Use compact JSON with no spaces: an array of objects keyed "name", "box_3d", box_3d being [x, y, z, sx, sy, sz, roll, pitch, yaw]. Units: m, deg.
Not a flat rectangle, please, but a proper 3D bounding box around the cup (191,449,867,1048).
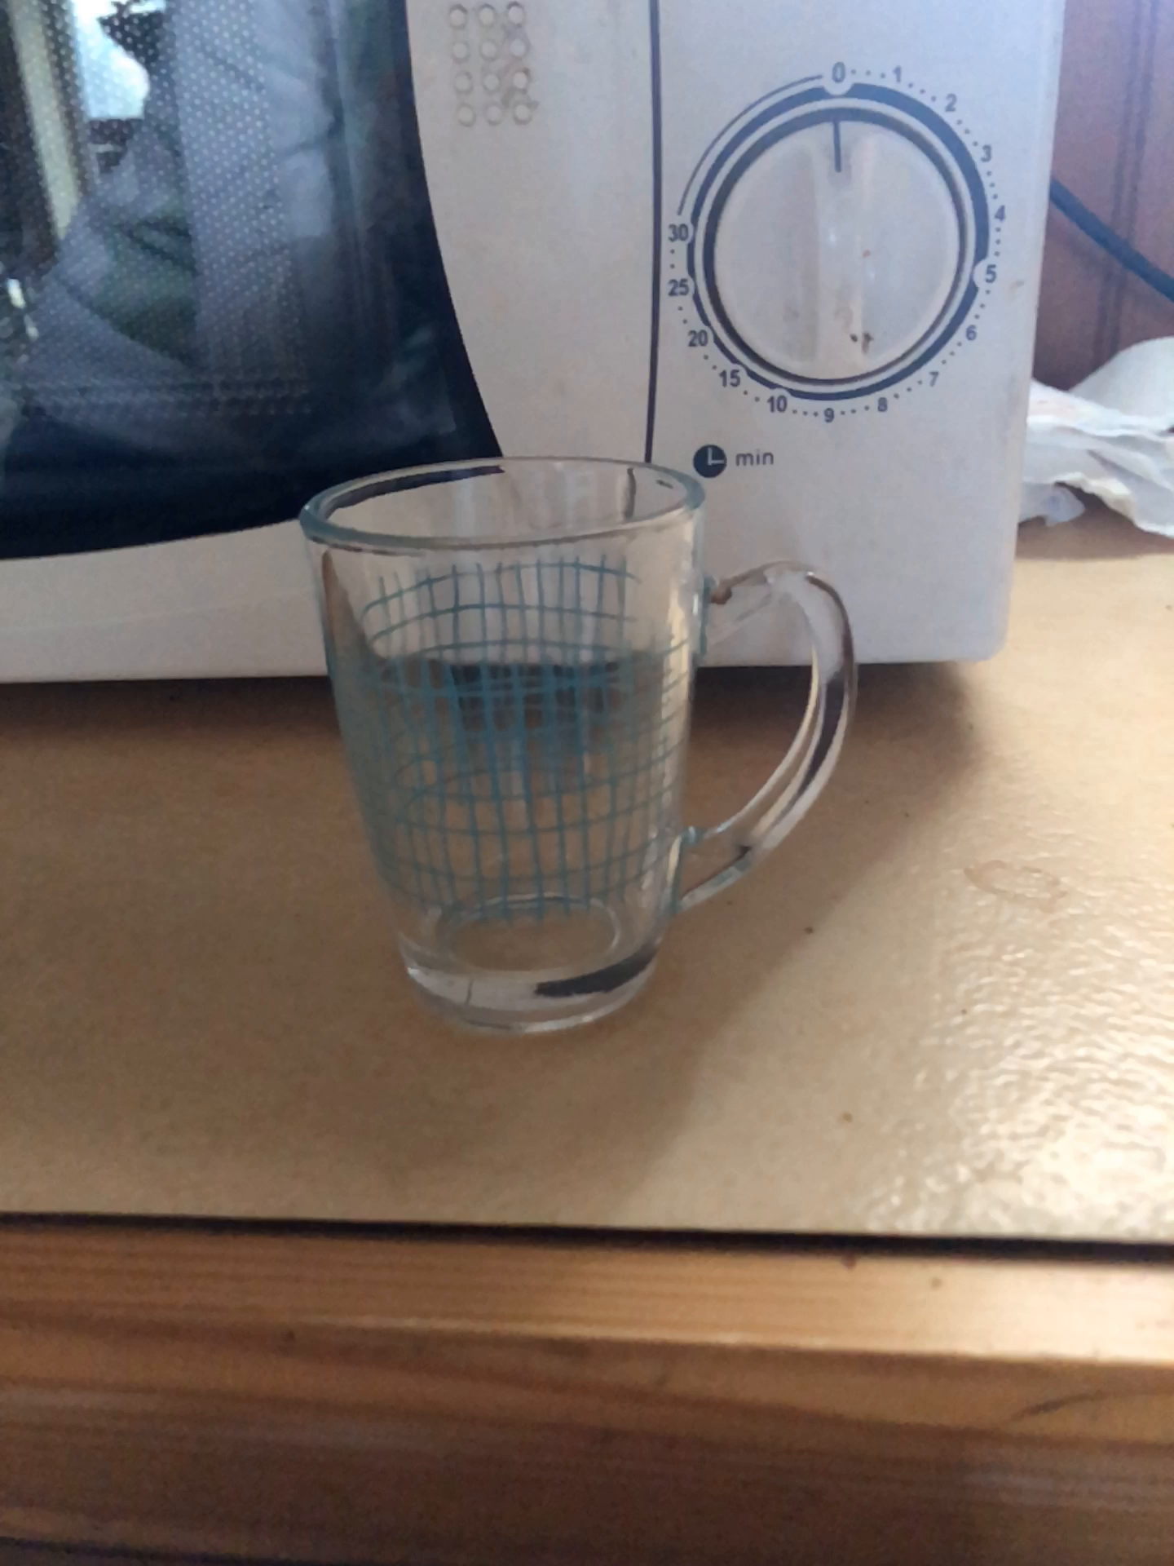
[{"name":"cup","box_3d":[-0.004,-0.008,0.195,0.080,0.070,0.060,-1,25,4]}]
